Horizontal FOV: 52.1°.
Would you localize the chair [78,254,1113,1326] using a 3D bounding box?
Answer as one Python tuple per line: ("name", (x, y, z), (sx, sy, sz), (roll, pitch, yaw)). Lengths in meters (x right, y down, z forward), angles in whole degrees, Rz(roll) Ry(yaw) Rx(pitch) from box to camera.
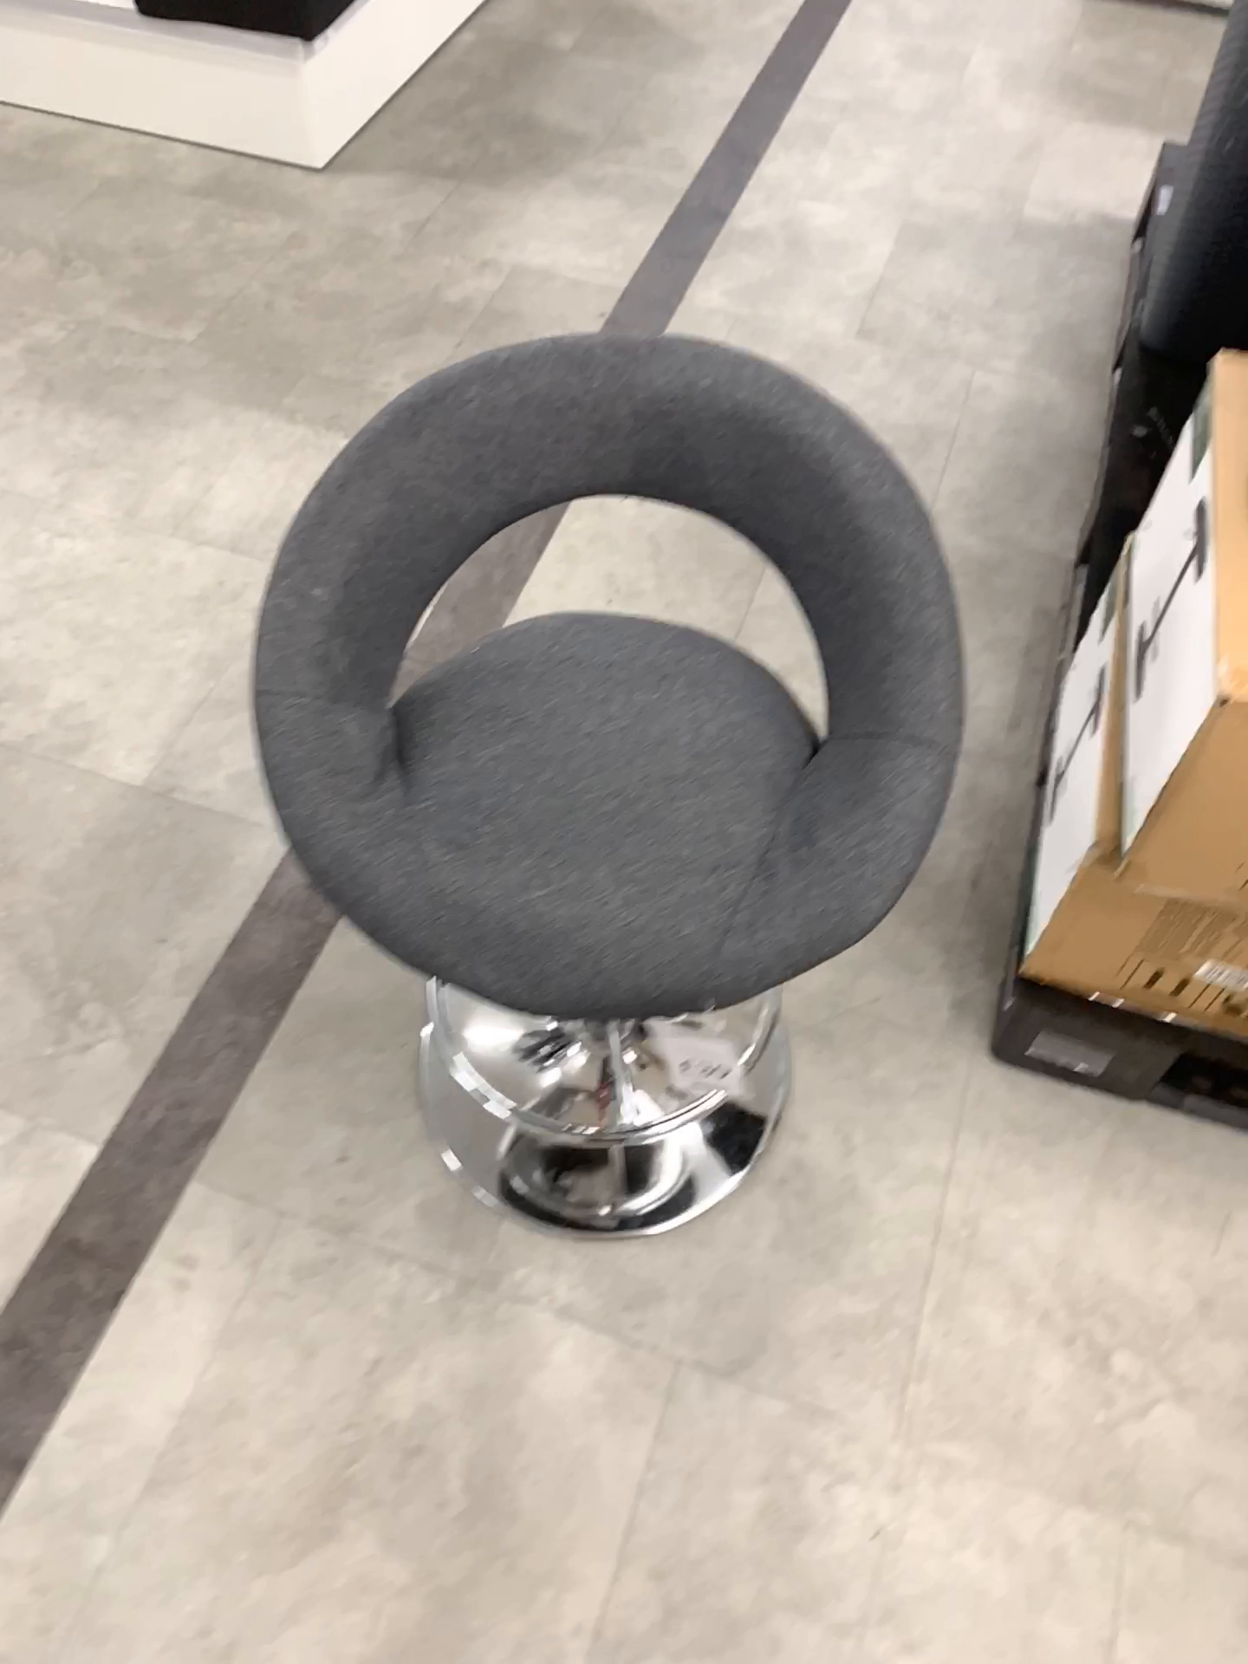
("chair", (0.017, -0.007, 1.137), (0.572, 0.665, 0.597), (9, 54, 4))
